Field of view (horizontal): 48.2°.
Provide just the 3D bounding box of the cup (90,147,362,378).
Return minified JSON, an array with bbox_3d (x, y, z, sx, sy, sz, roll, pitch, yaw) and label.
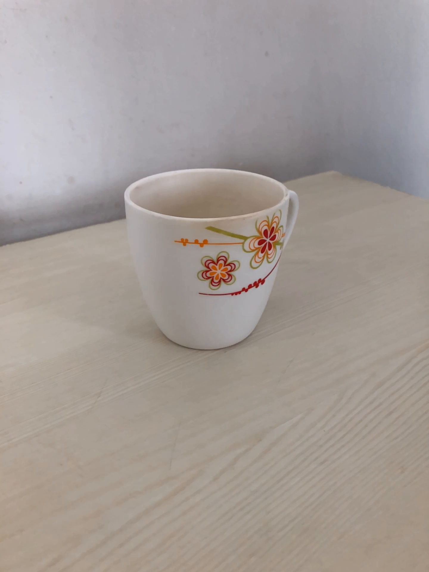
[{"bbox_3d":[0.008,-0.022,0.242,0.111,0.070,0.070,-22,35,-36],"label":"cup"}]
